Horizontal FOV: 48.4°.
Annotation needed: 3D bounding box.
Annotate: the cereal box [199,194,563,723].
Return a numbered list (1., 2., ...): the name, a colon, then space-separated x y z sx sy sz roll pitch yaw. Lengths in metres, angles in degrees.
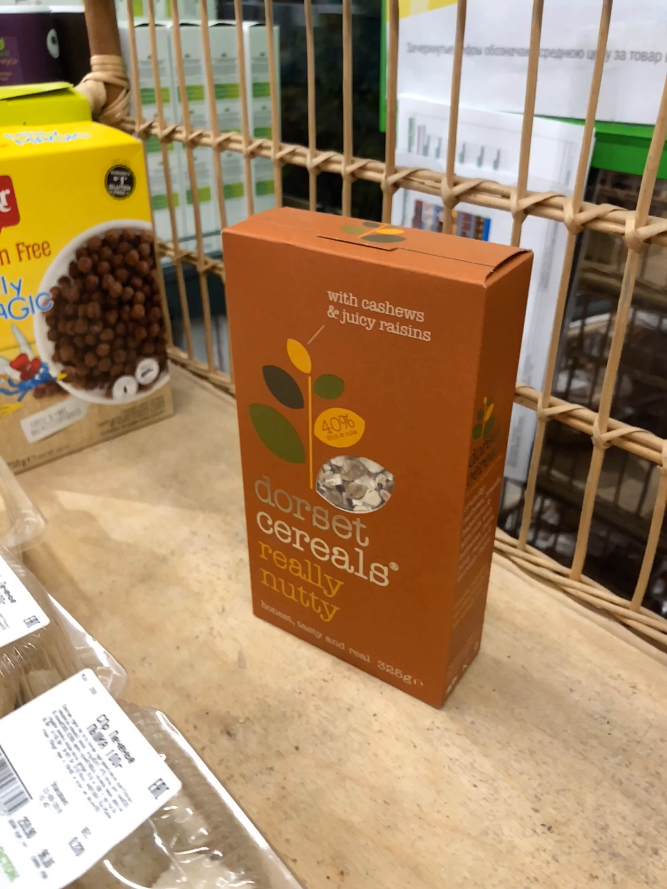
1. cereal box: 0.015 0.008 0.334 0.130 0.209 0.050 19 36 28
